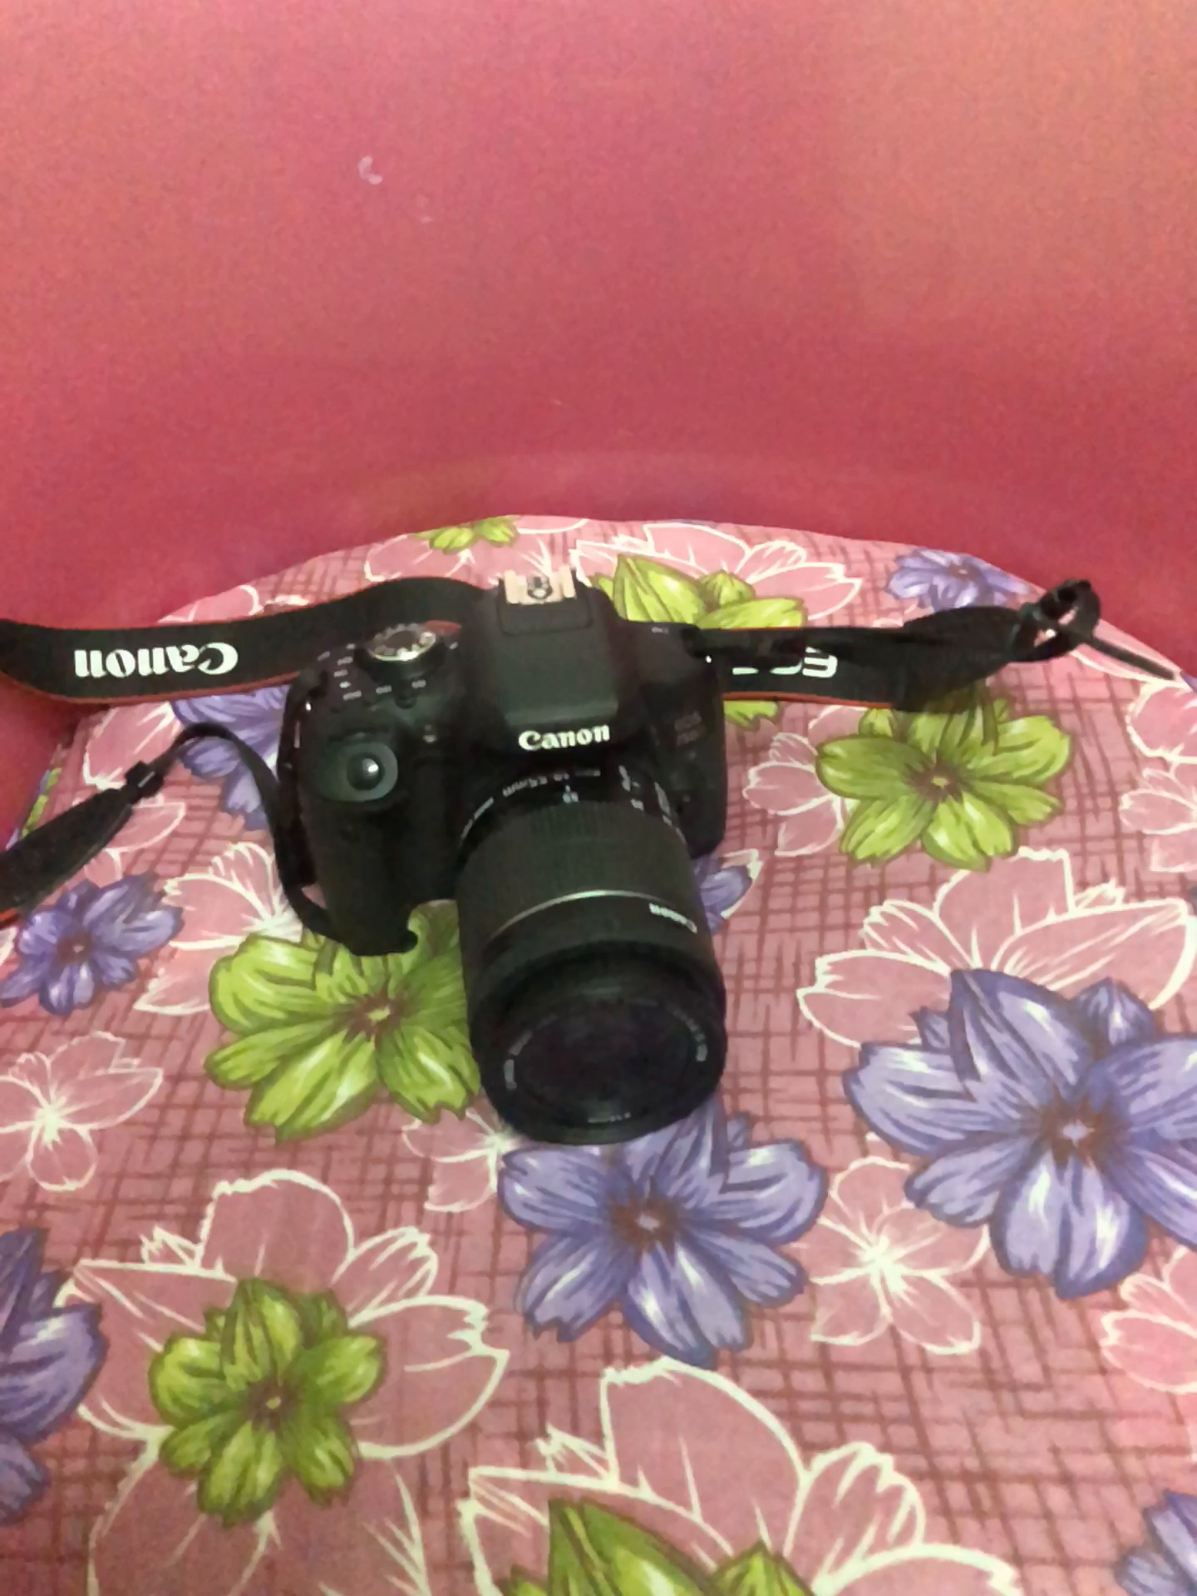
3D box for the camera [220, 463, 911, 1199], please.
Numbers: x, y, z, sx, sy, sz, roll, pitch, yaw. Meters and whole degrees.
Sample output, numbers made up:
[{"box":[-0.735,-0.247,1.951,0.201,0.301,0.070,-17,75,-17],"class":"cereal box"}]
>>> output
[{"box":[-0.013,0.002,0.357,0.140,0.099,0.161,-6,46,-3],"class":"camera"}]
